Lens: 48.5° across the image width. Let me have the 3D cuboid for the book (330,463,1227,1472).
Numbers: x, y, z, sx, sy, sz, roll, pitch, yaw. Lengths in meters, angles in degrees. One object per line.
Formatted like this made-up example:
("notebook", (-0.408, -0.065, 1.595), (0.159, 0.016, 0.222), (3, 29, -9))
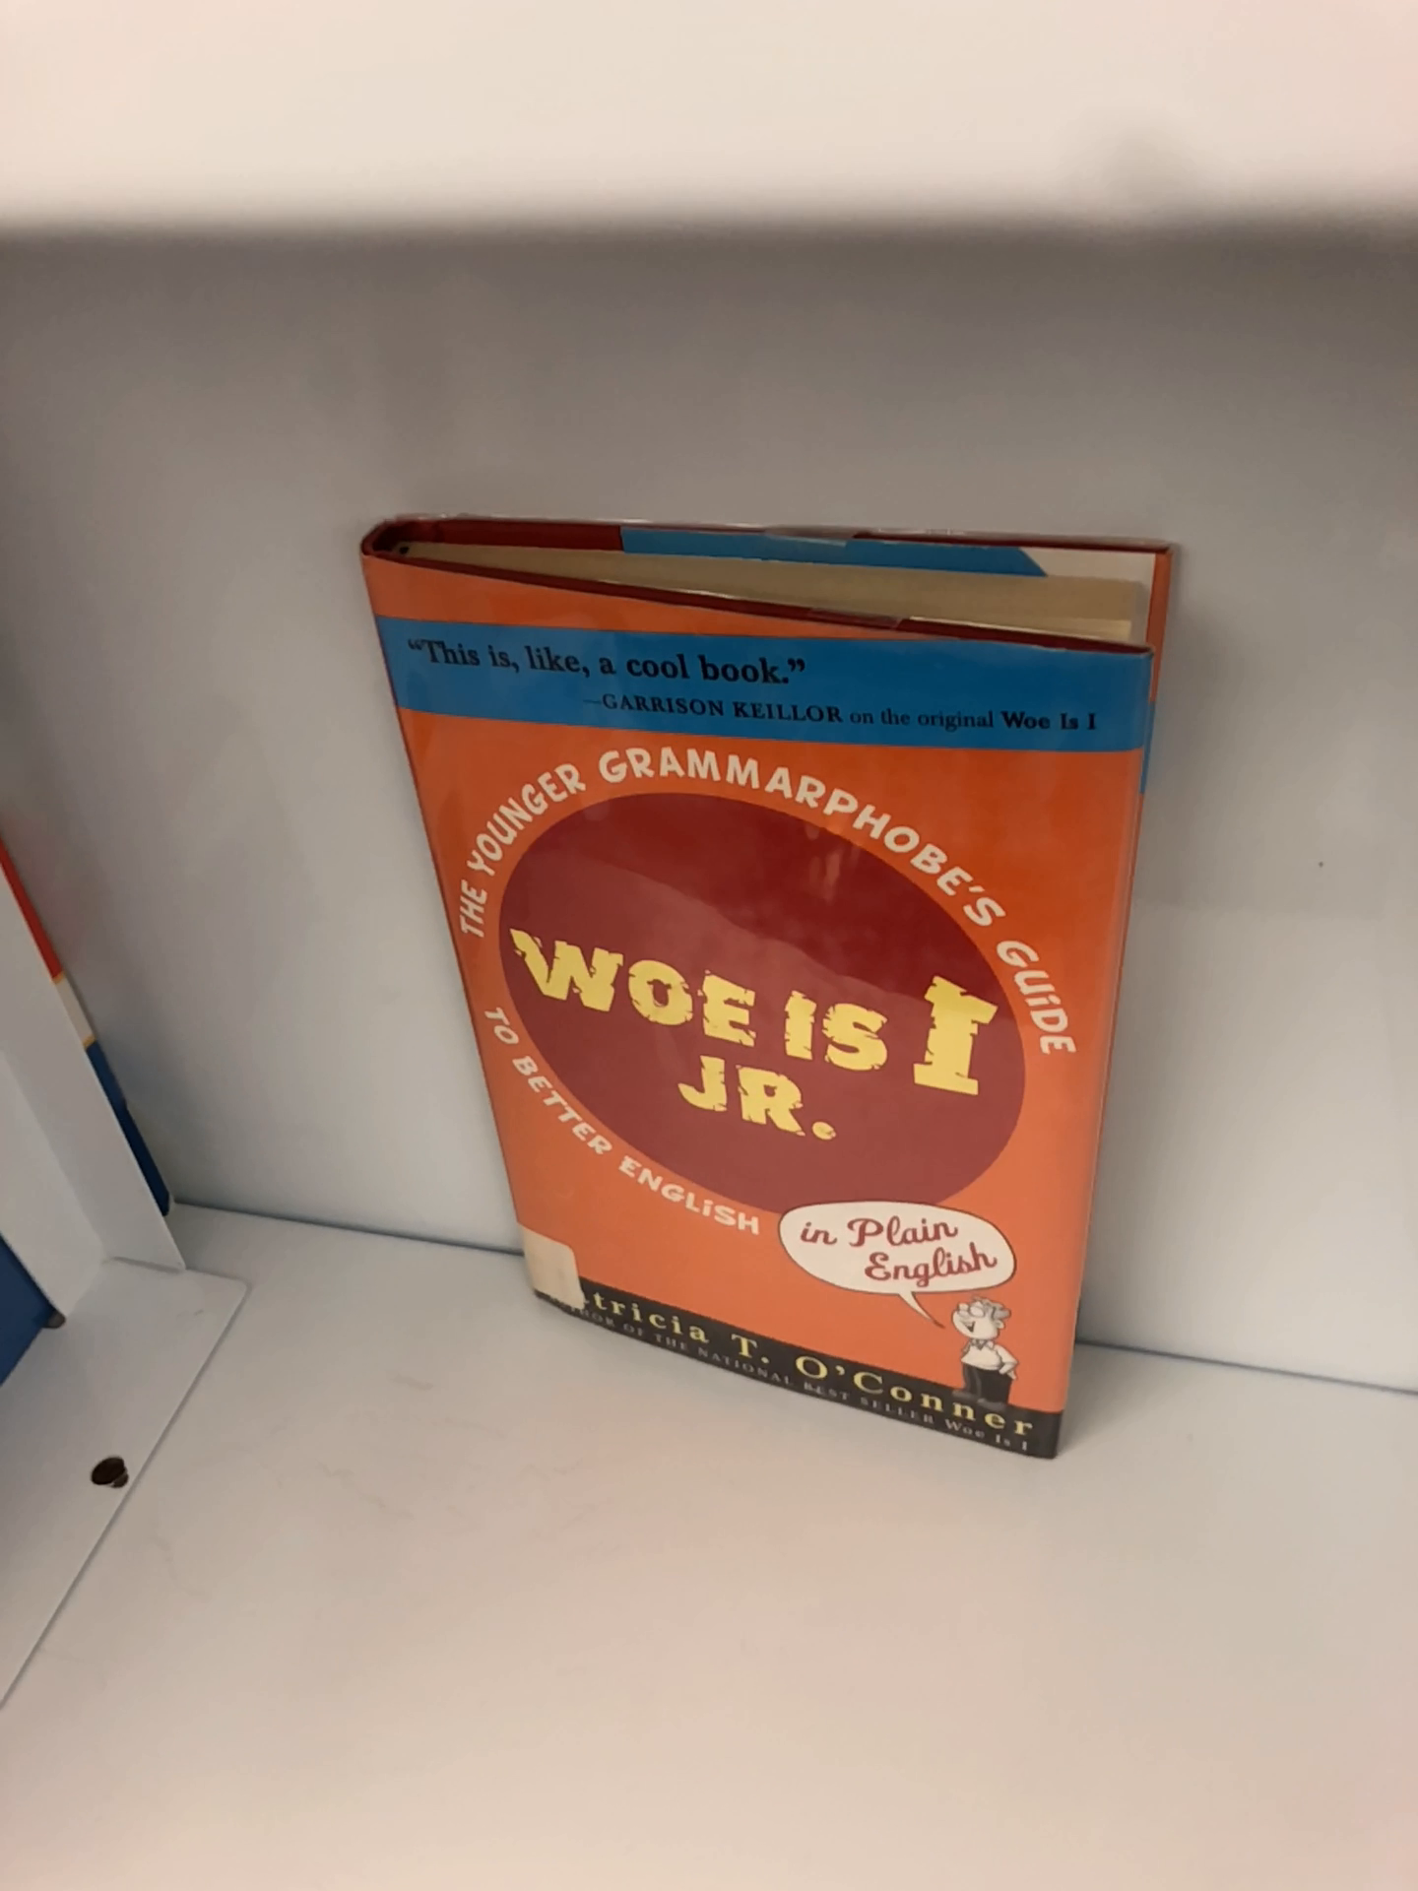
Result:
("book", (0.016, 0.013, 0.310), (0.137, 0.199, 0.038), (9, 40, 16))
